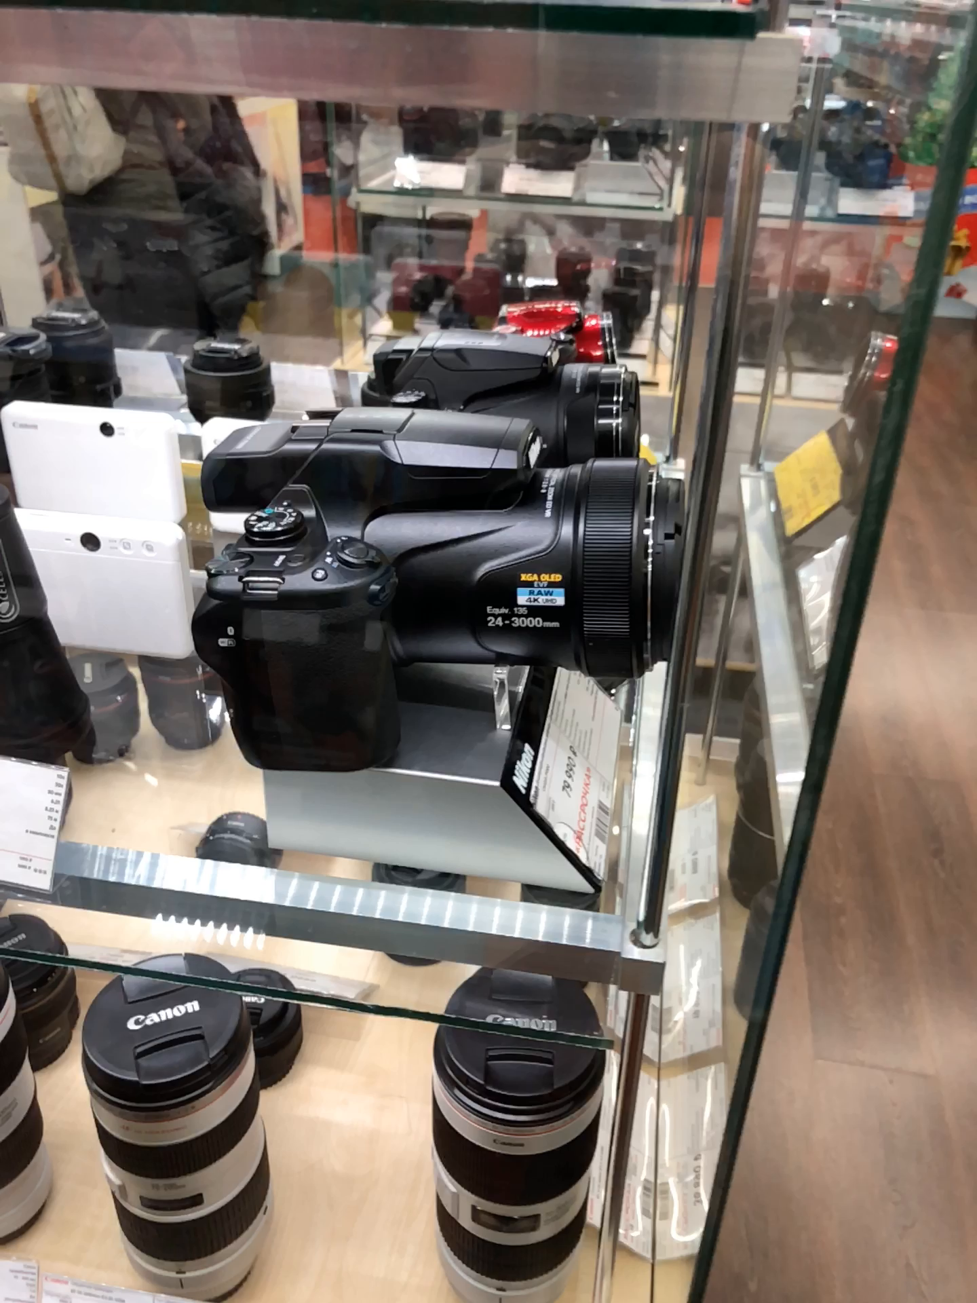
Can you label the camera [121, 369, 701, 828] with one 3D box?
[{"bbox_3d":[-0.018,-0.034,0.461,0.200,0.113,0.161,7,31,8],"label":"camera"}]
